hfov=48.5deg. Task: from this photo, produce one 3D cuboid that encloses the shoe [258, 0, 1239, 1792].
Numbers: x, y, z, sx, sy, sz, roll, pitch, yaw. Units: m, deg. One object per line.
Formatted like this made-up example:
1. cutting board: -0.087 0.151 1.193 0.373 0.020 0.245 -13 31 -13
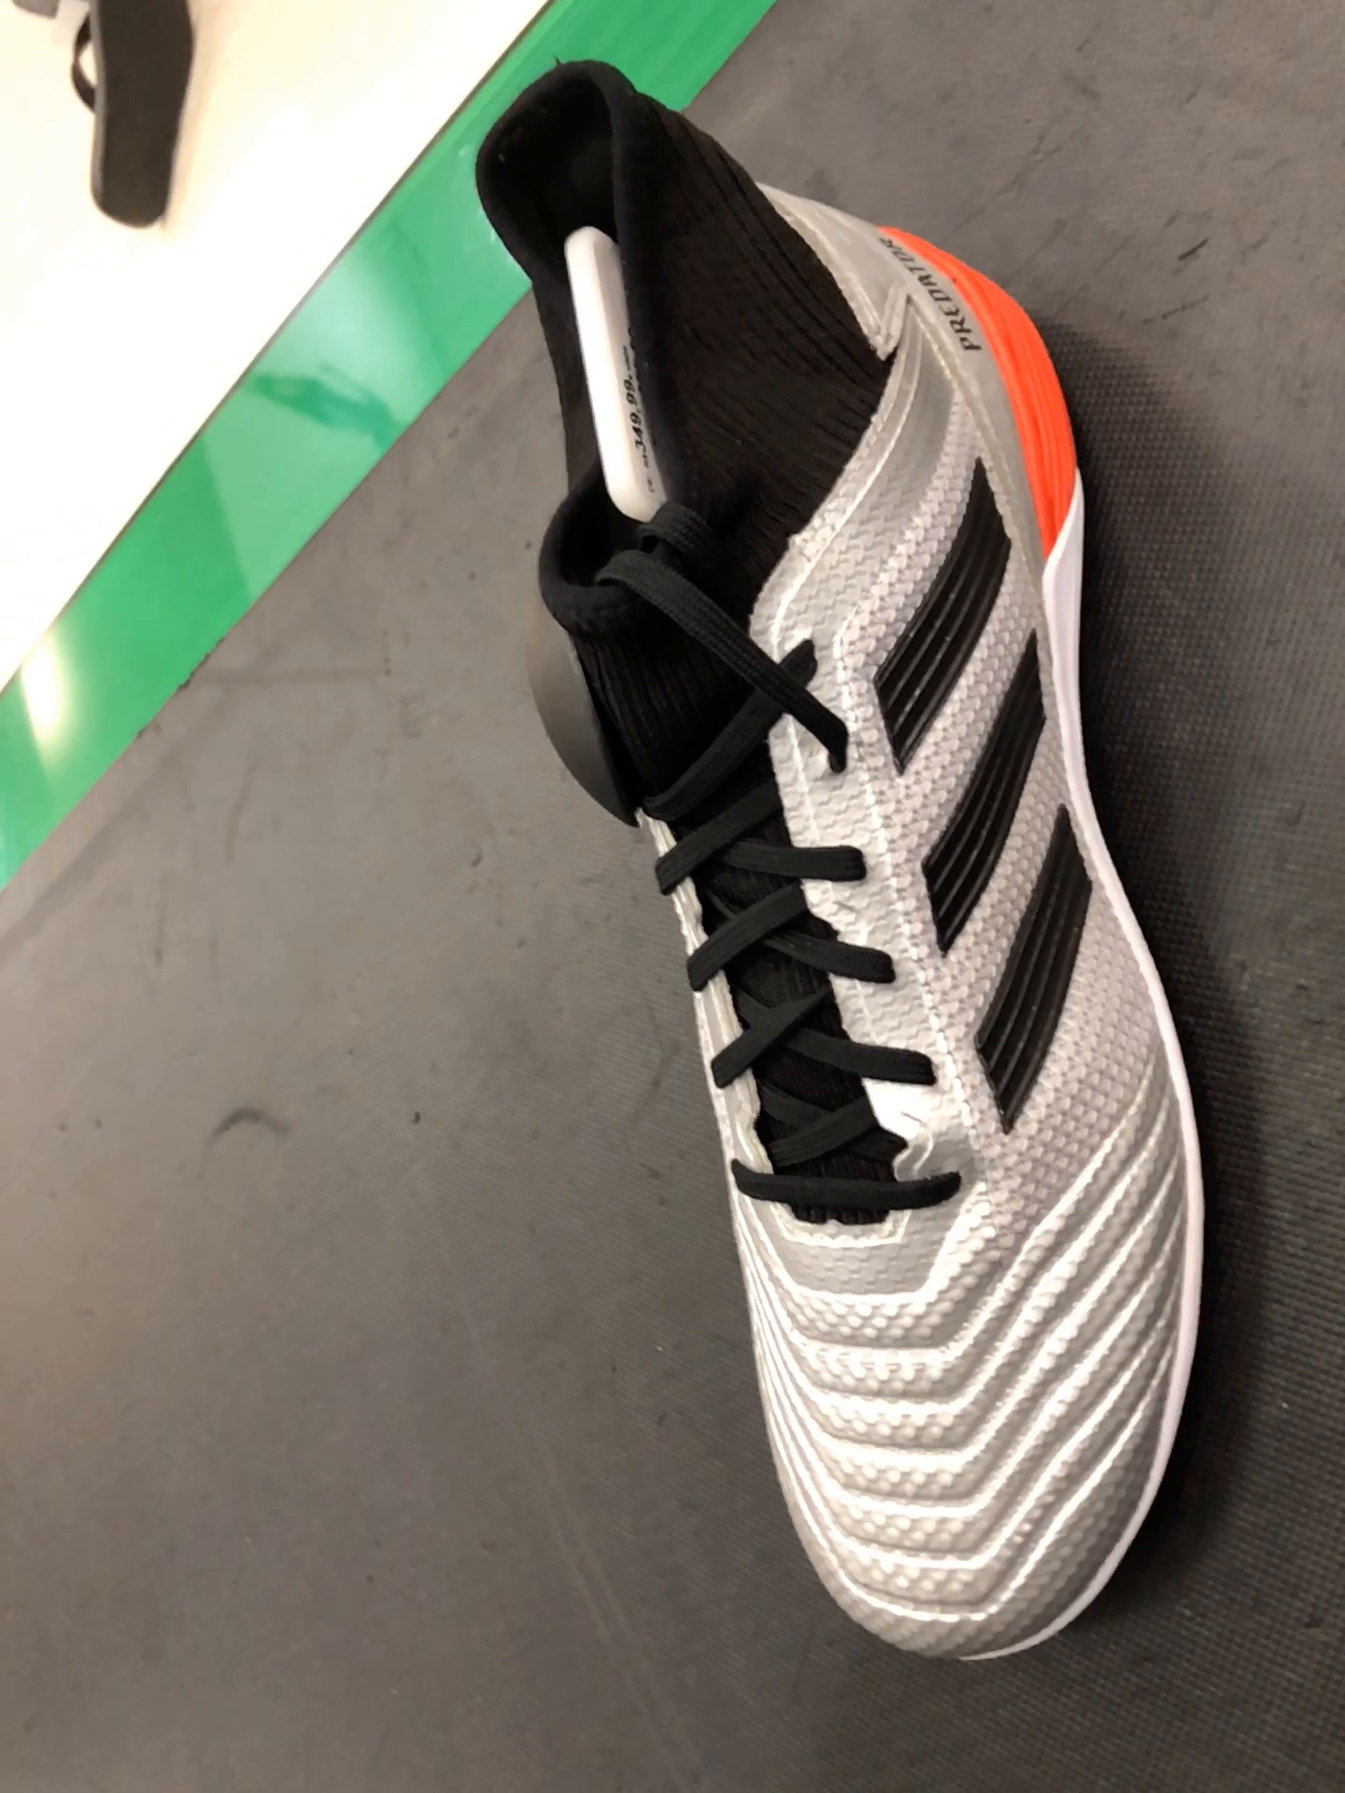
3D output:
1. shoe: 0.017 0.010 0.265 0.090 0.139 0.250 -10 80 38
